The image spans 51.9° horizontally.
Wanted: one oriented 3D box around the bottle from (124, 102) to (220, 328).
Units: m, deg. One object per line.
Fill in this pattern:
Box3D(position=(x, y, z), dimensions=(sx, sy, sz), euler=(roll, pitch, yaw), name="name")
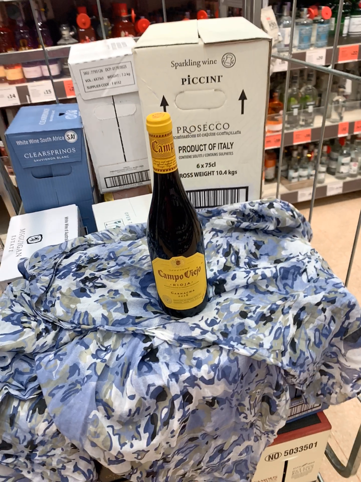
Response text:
Box3D(position=(-0.005, -0.023, 0.478), dimensions=(0.090, 0.270, 0.091), euler=(-3, 34, 2), name="bottle")
